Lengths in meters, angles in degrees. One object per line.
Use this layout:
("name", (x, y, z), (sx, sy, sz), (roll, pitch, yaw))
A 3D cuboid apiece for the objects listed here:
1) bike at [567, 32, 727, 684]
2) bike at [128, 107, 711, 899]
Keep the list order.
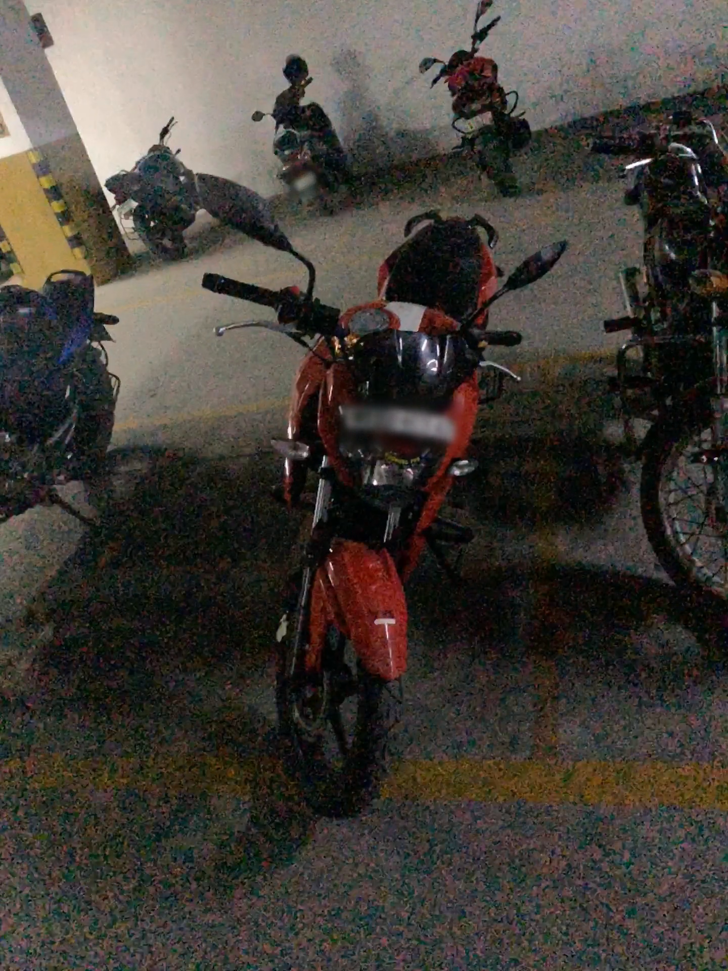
("bike", (0.984, -0.450, 1.894), (0.674, 0.933, 1.572), (-7, 34, 16))
("bike", (0.252, -0.134, 1.911), (0.802, 1.006, 1.700), (-7, 36, 16))
